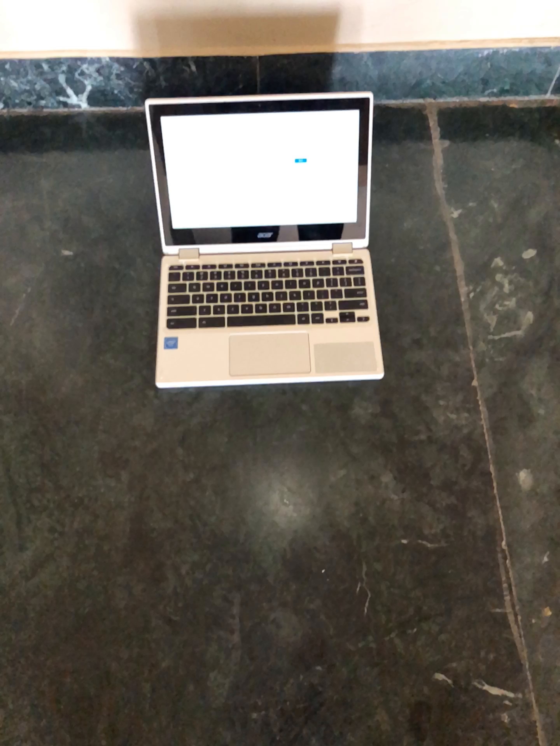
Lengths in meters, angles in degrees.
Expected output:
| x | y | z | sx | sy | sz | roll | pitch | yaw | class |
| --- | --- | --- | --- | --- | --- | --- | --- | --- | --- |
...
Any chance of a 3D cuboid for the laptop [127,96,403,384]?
| x | y | z | sx | sy | sz | roll | pitch | yaw | class |
| --- | --- | --- | --- | --- | --- | --- | --- | --- | --- |
| -0.021 | -0.166 | 0.768 | 0.280 | 0.156 | 0.315 | -3 | 64 | -1 | laptop |
